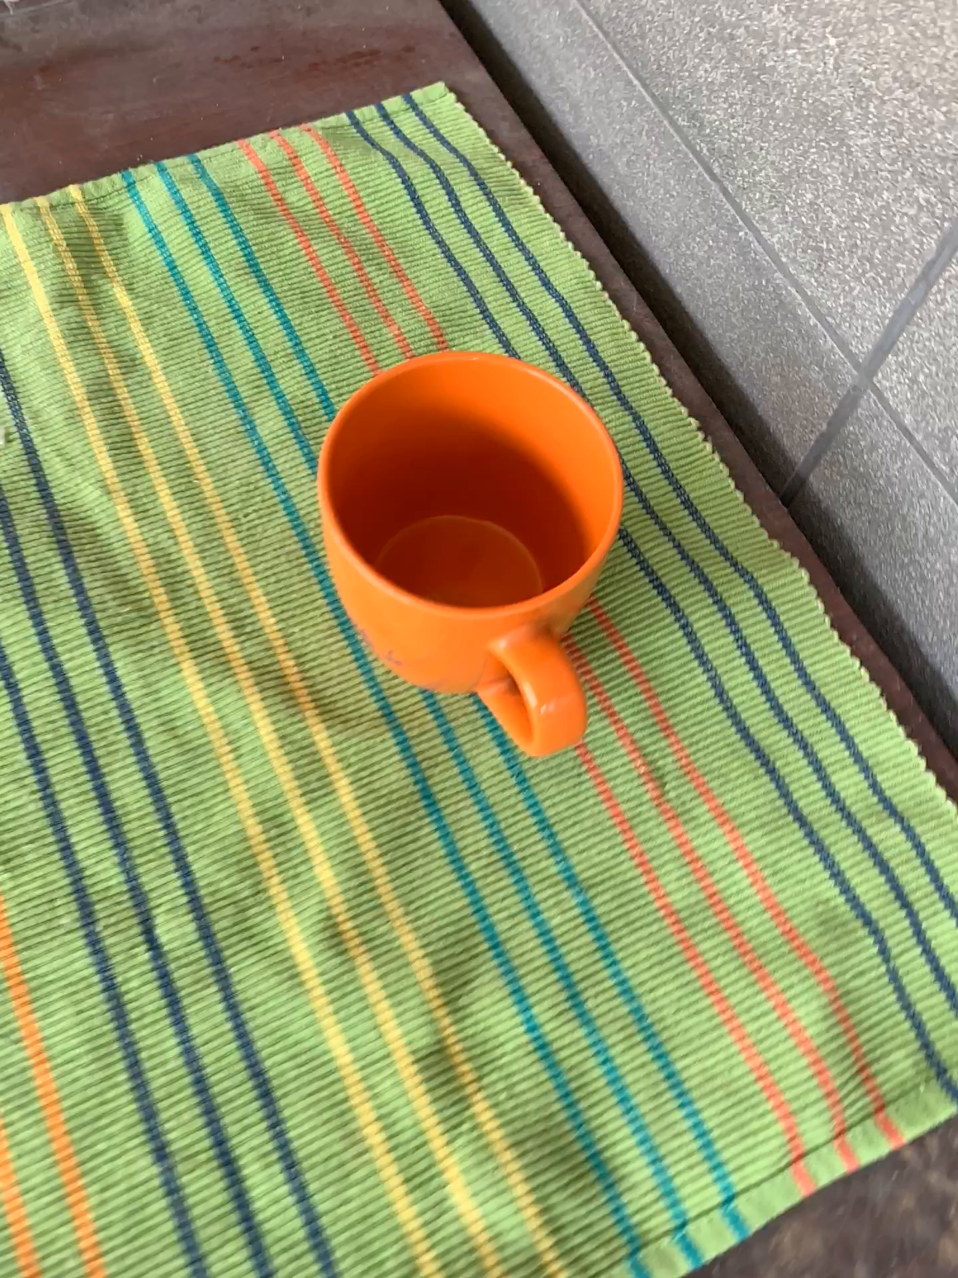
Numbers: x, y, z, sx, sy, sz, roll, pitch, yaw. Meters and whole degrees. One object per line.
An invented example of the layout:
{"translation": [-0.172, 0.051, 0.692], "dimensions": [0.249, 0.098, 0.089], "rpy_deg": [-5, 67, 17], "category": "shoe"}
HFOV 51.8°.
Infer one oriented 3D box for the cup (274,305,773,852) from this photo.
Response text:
{"translation": [0.006, -0.018, 0.301], "dimensions": [0.090, 0.080, 0.120], "rpy_deg": [-22, 68, -15], "category": "cup"}
